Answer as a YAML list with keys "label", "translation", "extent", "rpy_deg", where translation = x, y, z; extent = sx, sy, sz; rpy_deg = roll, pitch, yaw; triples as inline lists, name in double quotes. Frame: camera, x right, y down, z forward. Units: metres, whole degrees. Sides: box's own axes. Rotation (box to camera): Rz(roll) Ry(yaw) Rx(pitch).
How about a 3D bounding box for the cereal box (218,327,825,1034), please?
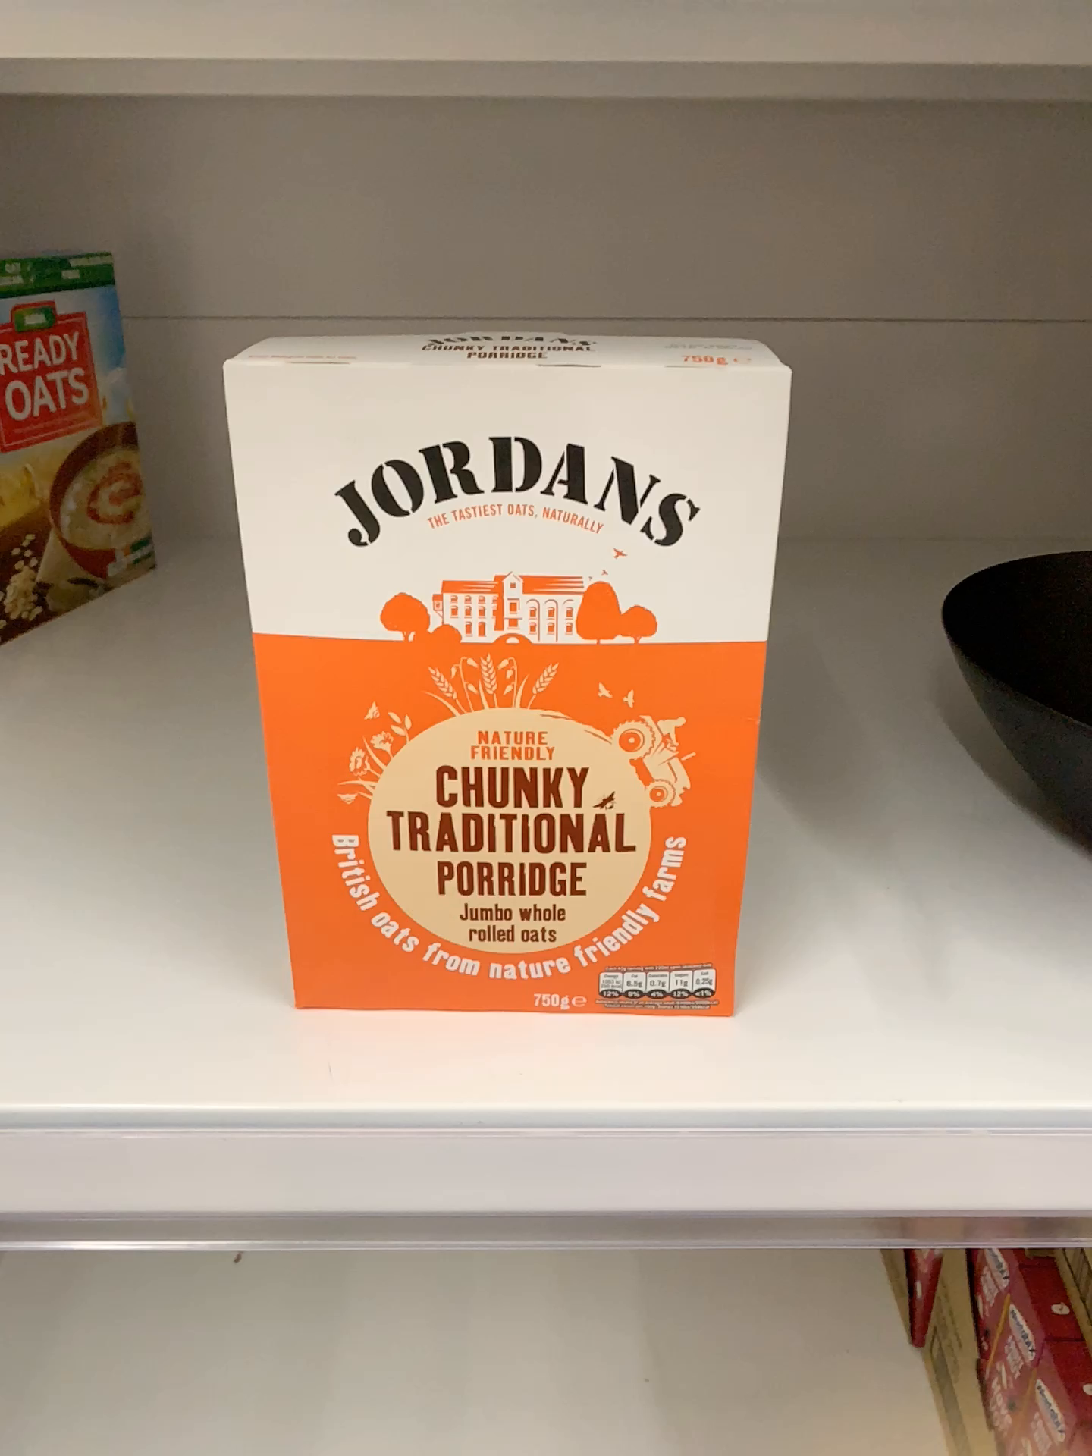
- label: "cereal box"
  translation: [-0.008, -0.010, 0.435]
  extent: [0.190, 0.268, 0.061]
  rpy_deg: [1, 25, 1]
